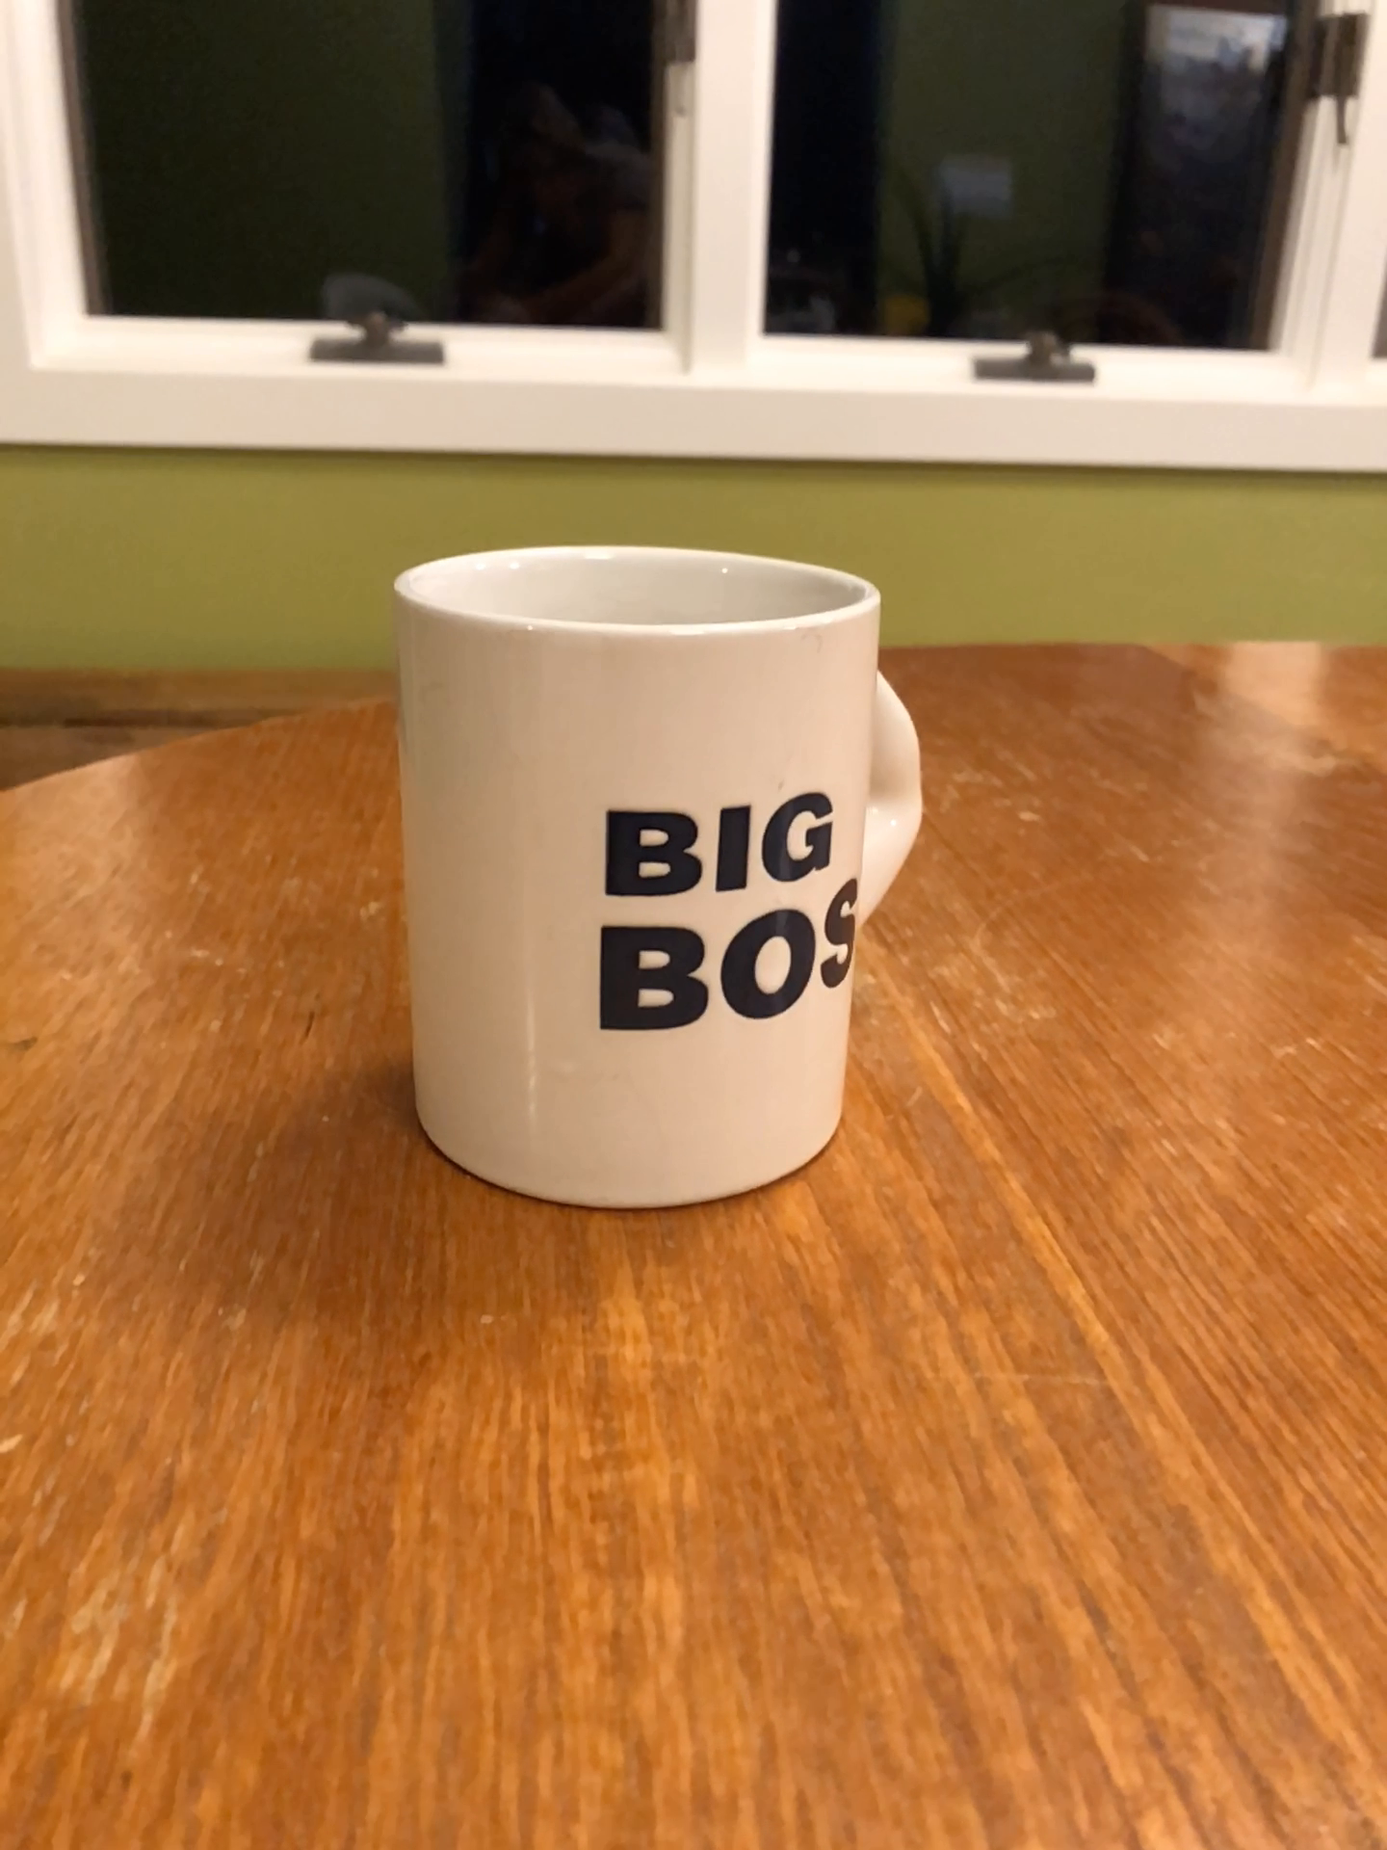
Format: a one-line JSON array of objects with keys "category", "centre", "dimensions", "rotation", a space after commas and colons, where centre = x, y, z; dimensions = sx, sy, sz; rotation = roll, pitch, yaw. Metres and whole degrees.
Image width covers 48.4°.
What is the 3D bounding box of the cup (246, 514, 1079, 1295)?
[{"category": "cup", "centre": [0.001, -0.019, 0.300], "dimensions": [0.087, 0.100, 0.139], "rotation": [16, 25, 32]}]
